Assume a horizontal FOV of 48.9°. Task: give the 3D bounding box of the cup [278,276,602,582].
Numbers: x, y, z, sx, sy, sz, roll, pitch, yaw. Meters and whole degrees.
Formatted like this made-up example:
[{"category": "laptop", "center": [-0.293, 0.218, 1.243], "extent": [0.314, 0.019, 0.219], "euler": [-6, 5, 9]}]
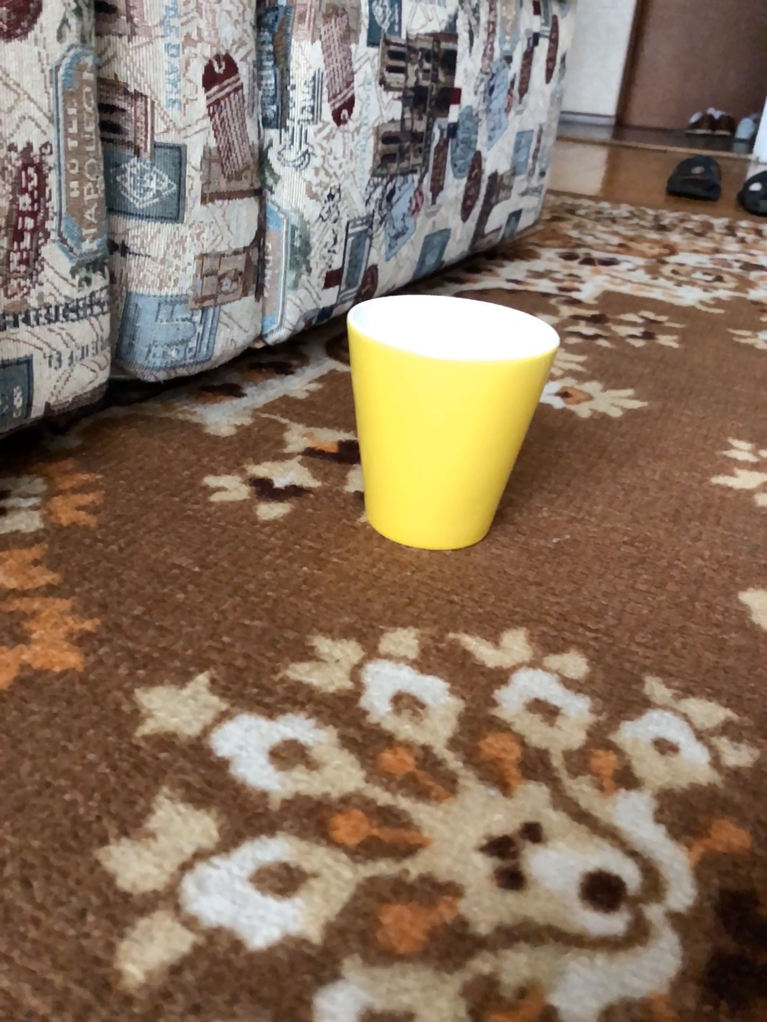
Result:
[{"category": "cup", "center": [0.028, -0.047, 0.391], "extent": [0.097, 0.088, 0.125], "euler": [18, 30, 24]}]
